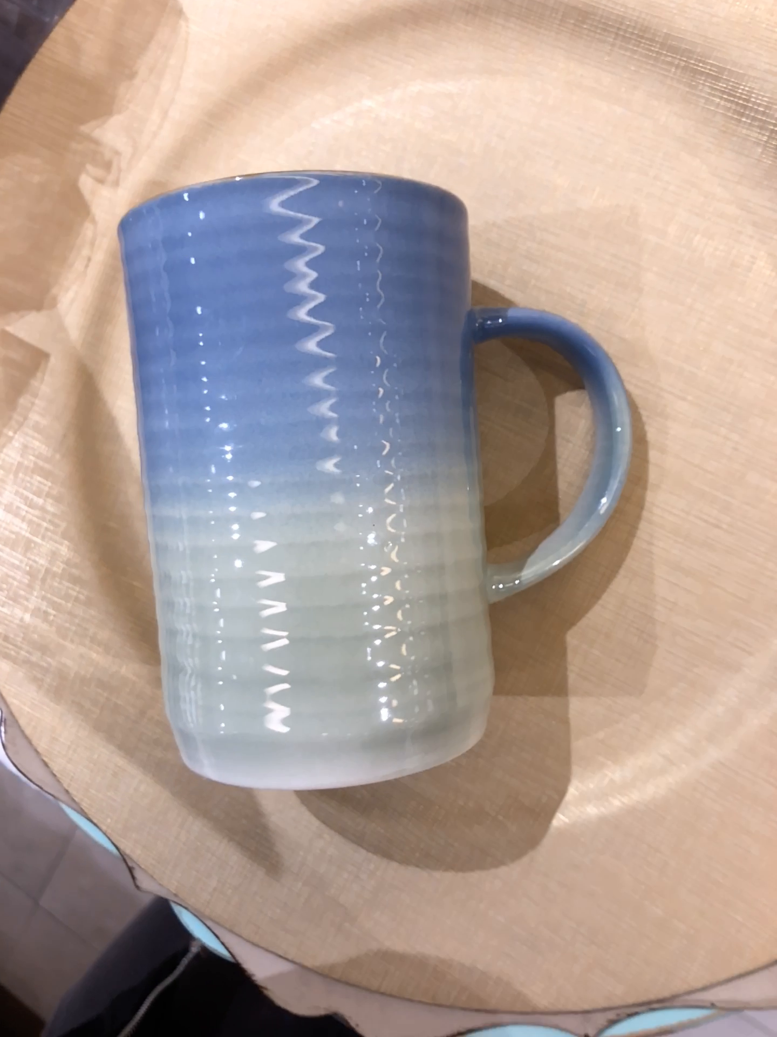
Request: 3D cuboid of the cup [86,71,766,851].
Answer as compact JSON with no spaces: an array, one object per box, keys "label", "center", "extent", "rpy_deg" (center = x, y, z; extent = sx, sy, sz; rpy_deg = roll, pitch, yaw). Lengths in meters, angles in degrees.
[{"label":"cup","center":[0.007,-0.012,0.195],"extent":[0.120,0.060,0.140],"rpy_deg":[-3,90,-2]}]
